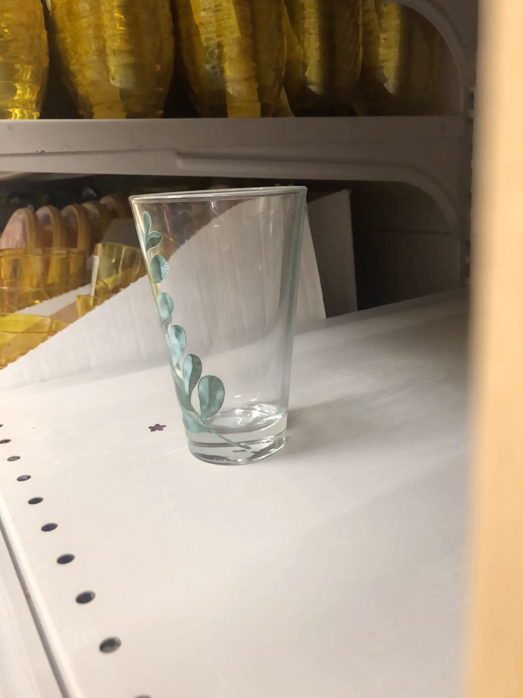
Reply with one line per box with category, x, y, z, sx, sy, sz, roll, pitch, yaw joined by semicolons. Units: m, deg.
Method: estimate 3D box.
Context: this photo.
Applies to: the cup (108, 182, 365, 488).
cup;-0.012;-0.016;0.269;0.084;0.114;0.083;-2;15;1
